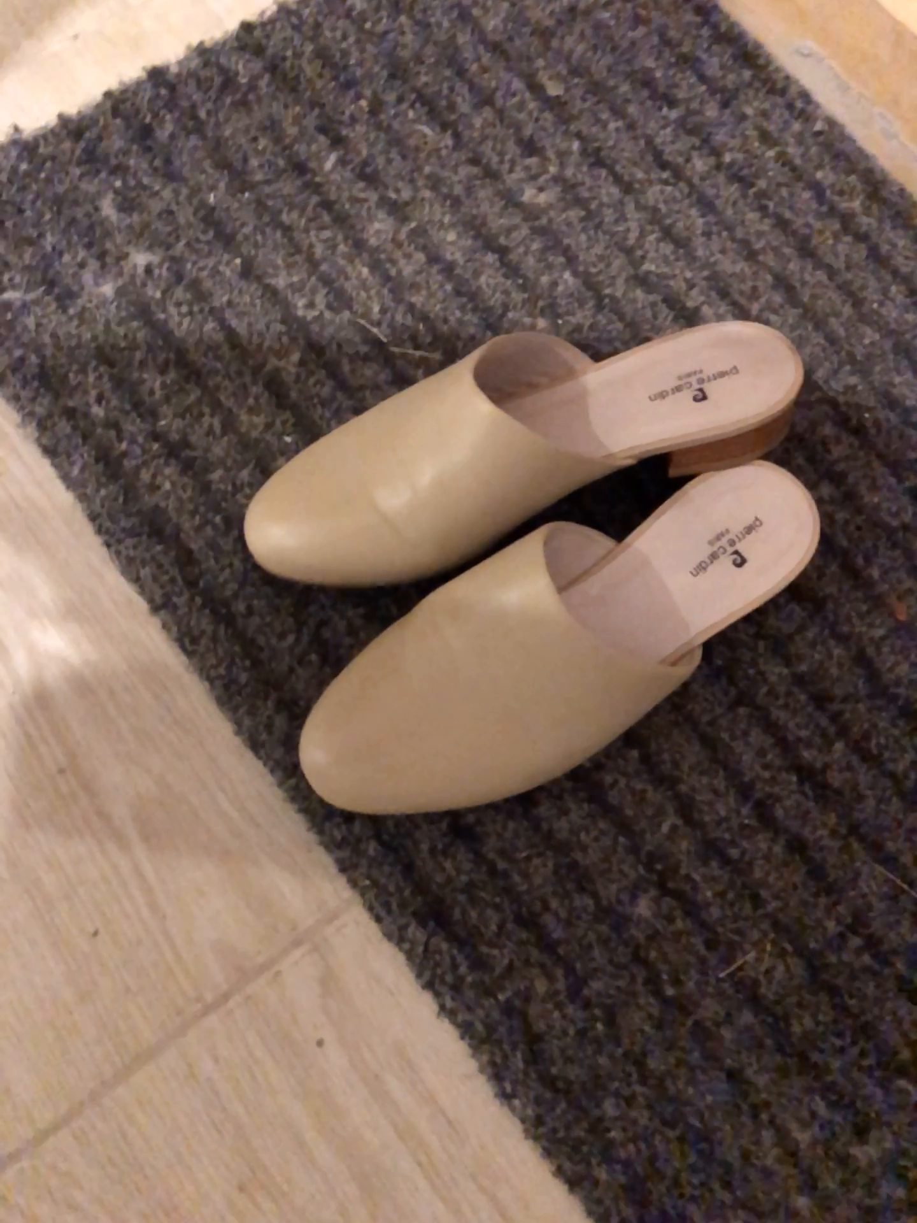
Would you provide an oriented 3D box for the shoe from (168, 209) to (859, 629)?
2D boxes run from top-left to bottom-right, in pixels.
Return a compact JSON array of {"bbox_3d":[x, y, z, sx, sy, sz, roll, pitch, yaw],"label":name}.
[{"bbox_3d":[0.021,-0.080,0.418,0.250,0.070,0.090,-17,75,-9],"label":"shoe"}]

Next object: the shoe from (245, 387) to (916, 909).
[{"bbox_3d":[0.051,0.014,0.412,0.250,0.070,0.090,-29,77,-12],"label":"shoe"}]
